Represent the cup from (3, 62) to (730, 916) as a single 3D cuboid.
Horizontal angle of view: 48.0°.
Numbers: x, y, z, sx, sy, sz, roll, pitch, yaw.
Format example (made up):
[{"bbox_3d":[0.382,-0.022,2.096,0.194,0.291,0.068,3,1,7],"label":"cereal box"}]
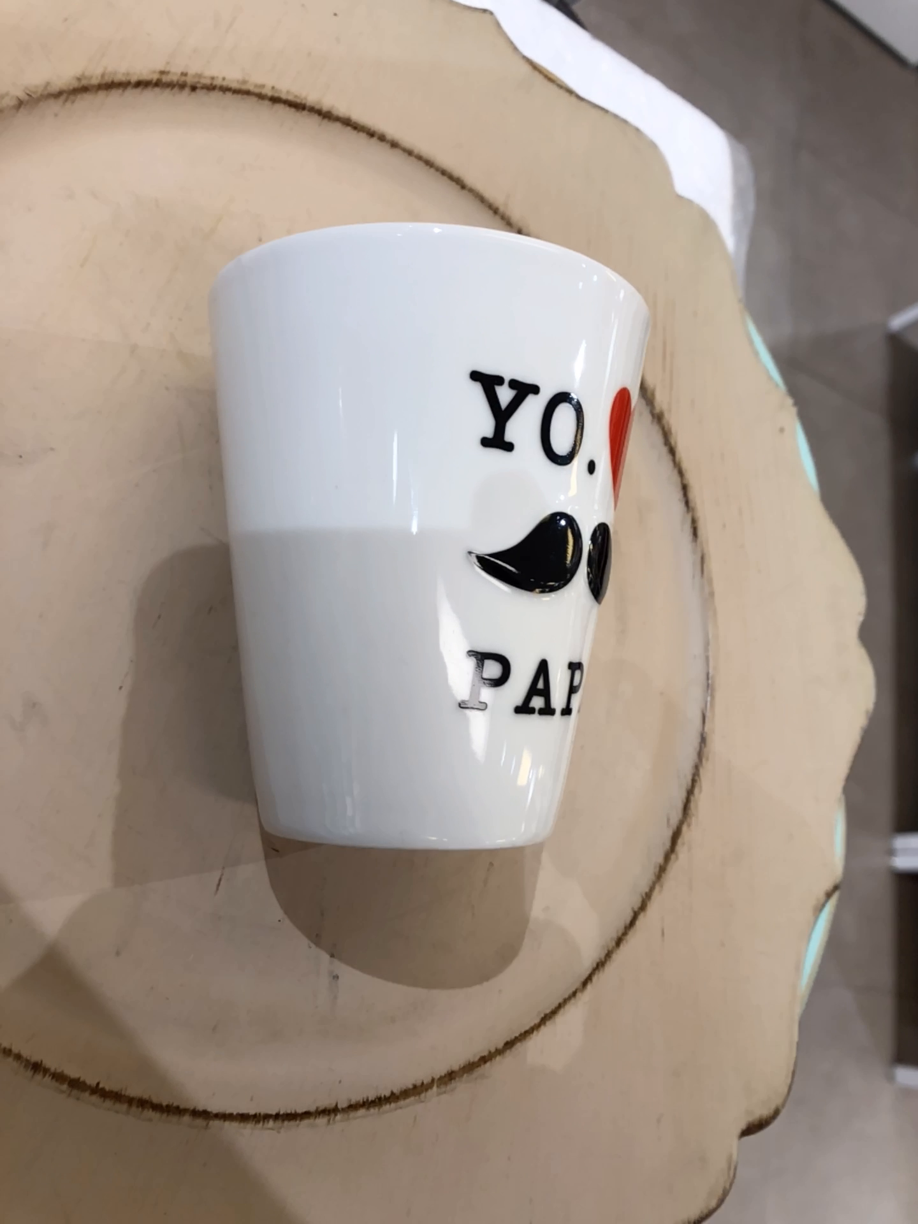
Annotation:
[{"bbox_3d":[-0.011,-0.014,0.213,0.110,0.090,0.120,-3,94,-54],"label":"cup"}]
